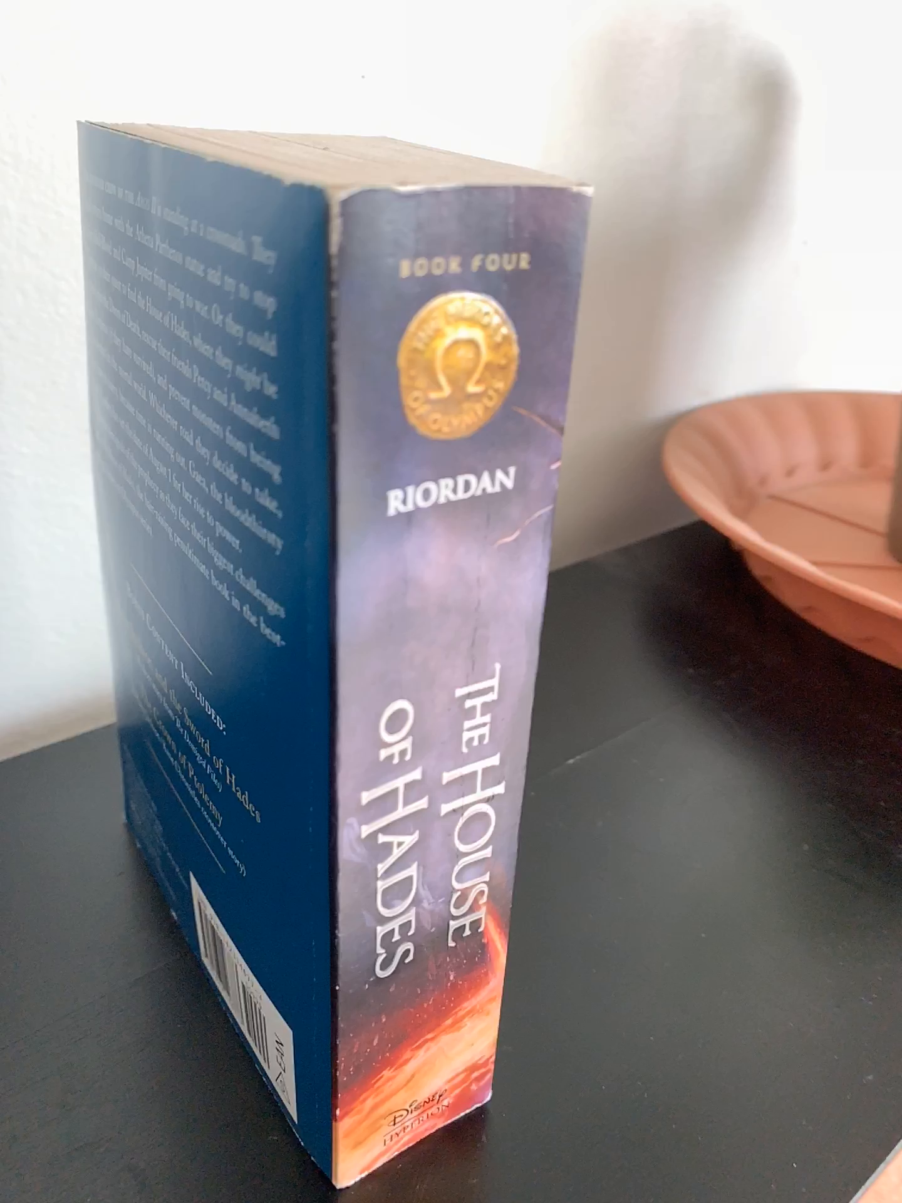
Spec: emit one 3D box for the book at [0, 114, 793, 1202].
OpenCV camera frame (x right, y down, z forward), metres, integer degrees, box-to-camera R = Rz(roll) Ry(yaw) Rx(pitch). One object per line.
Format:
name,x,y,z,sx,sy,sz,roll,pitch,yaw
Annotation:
book,-0.028,-0.003,0.204,0.077,0.176,0.145,-14,31,-31
